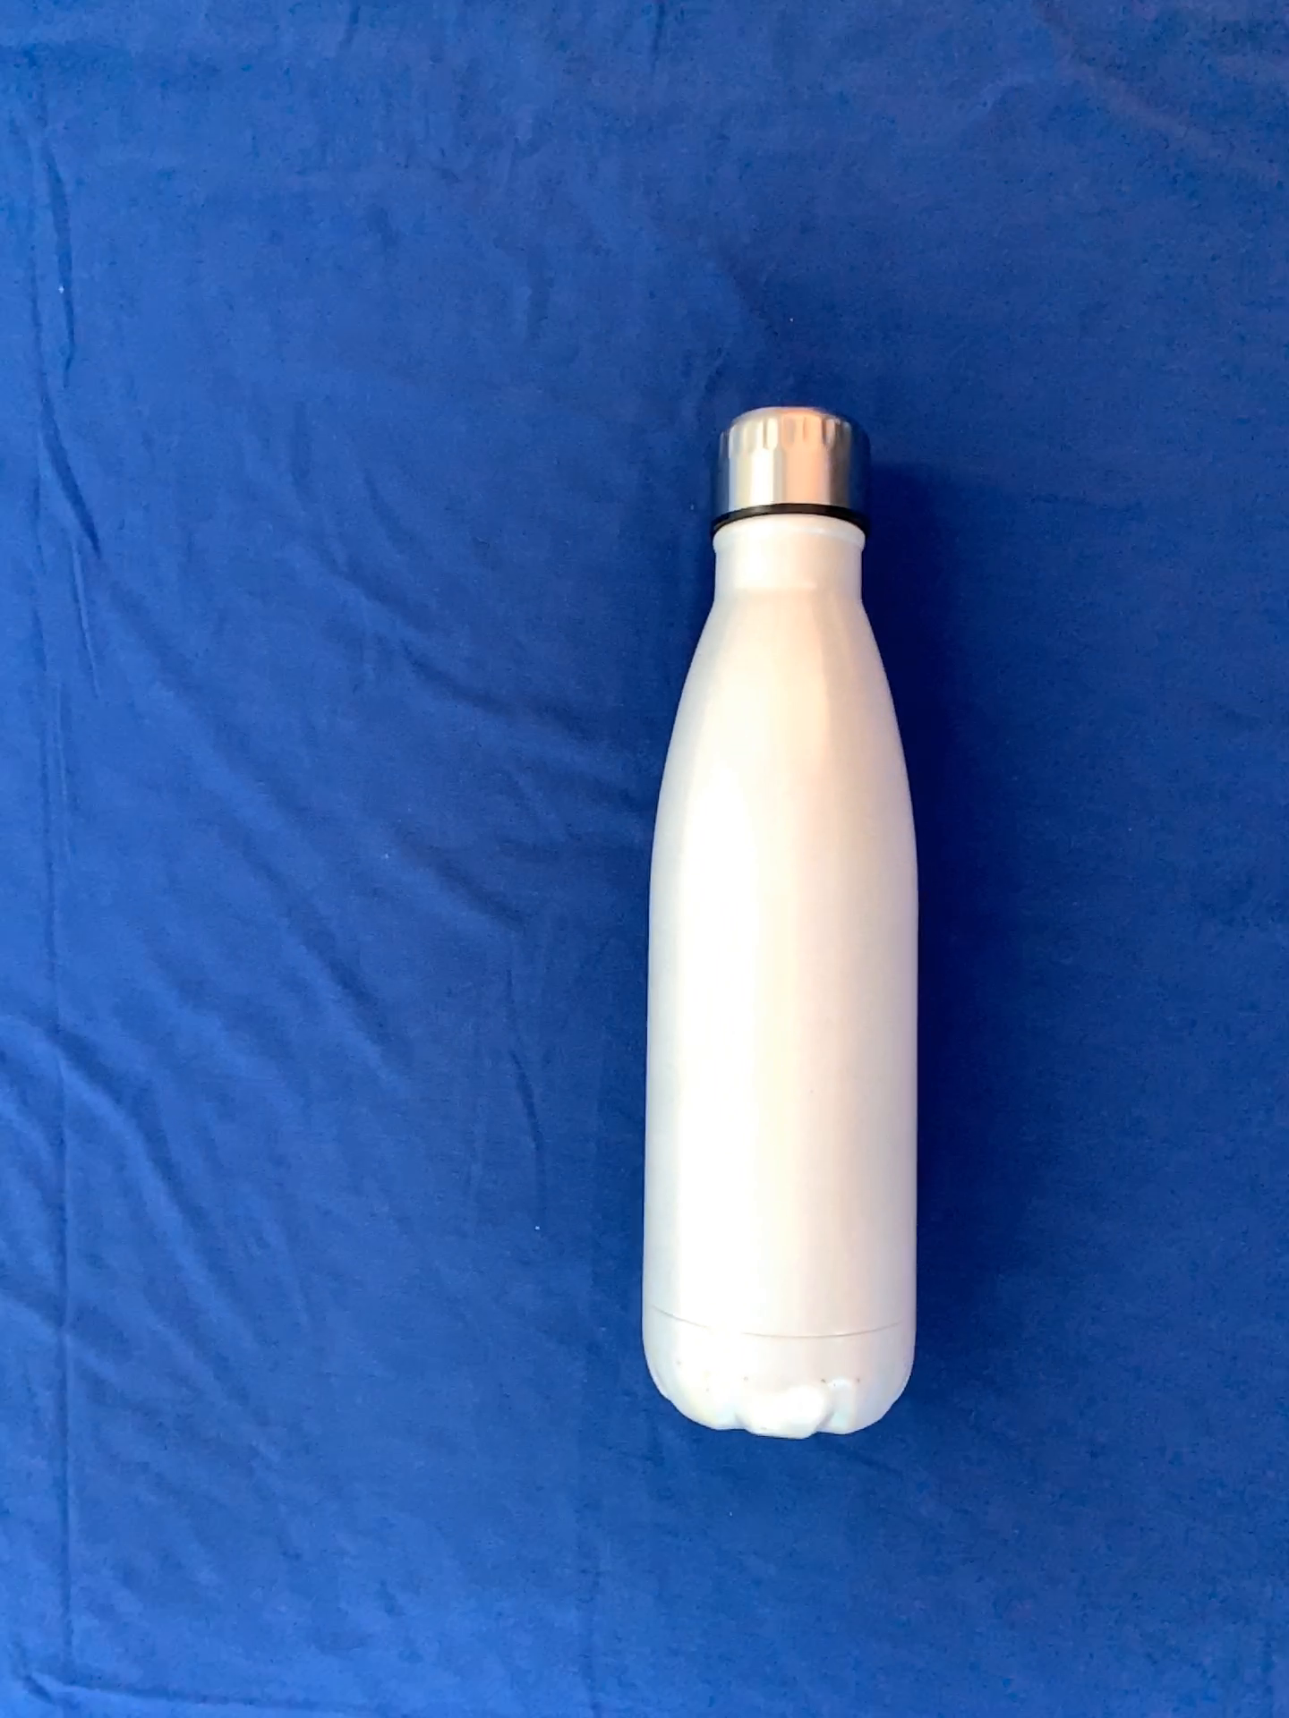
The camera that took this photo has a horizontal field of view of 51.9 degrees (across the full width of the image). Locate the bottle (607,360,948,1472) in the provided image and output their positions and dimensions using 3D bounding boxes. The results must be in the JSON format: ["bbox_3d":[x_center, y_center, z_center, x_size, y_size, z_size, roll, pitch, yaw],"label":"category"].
[{"bbox_3d":[0.037,0.012,0.342,0.080,0.050,0.260,0,88,12],"label":"bottle"}]
